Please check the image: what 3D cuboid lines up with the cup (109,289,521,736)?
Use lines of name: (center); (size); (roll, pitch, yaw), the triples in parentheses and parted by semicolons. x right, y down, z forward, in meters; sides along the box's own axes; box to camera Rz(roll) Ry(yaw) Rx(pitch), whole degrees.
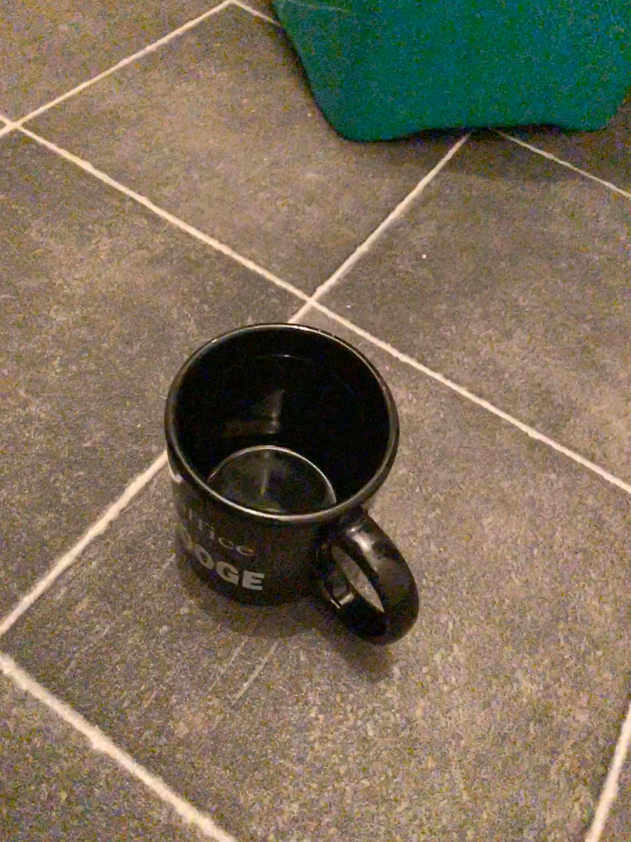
cup: (-0.009, 0.040, 0.259); (0.080, 0.115, 0.117); (-31, 68, -25)
